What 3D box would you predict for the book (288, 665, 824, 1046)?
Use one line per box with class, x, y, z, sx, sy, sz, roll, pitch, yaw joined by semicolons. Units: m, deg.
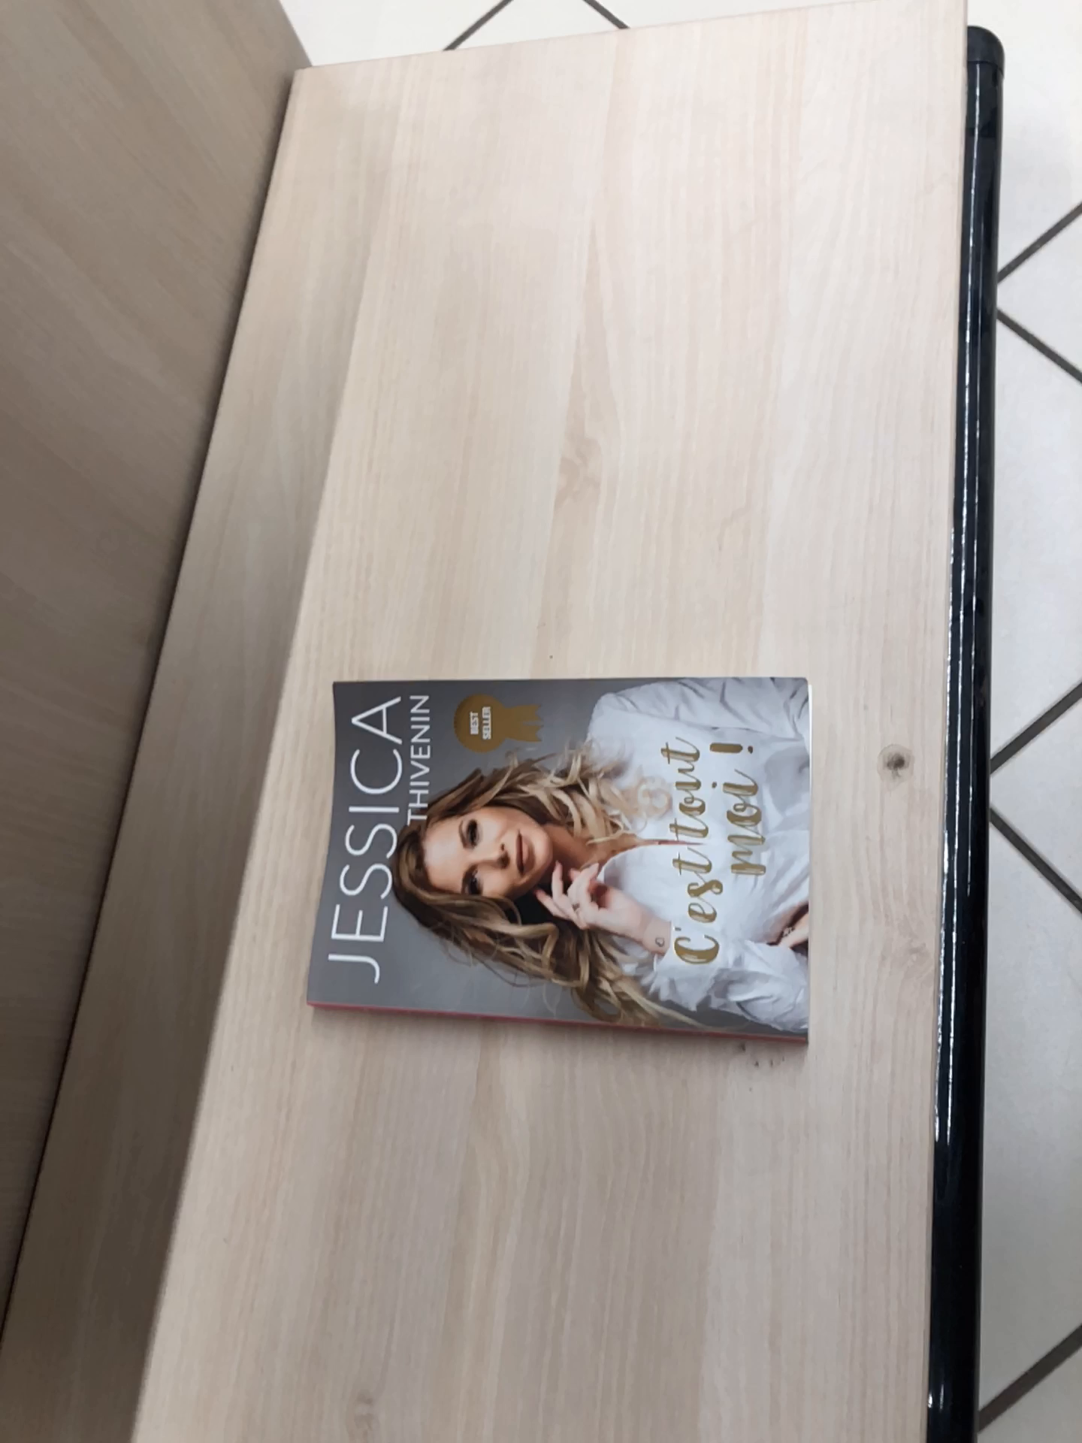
book;0.007;0.050;0.491;0.212;0.020;0.146;0;72;15
